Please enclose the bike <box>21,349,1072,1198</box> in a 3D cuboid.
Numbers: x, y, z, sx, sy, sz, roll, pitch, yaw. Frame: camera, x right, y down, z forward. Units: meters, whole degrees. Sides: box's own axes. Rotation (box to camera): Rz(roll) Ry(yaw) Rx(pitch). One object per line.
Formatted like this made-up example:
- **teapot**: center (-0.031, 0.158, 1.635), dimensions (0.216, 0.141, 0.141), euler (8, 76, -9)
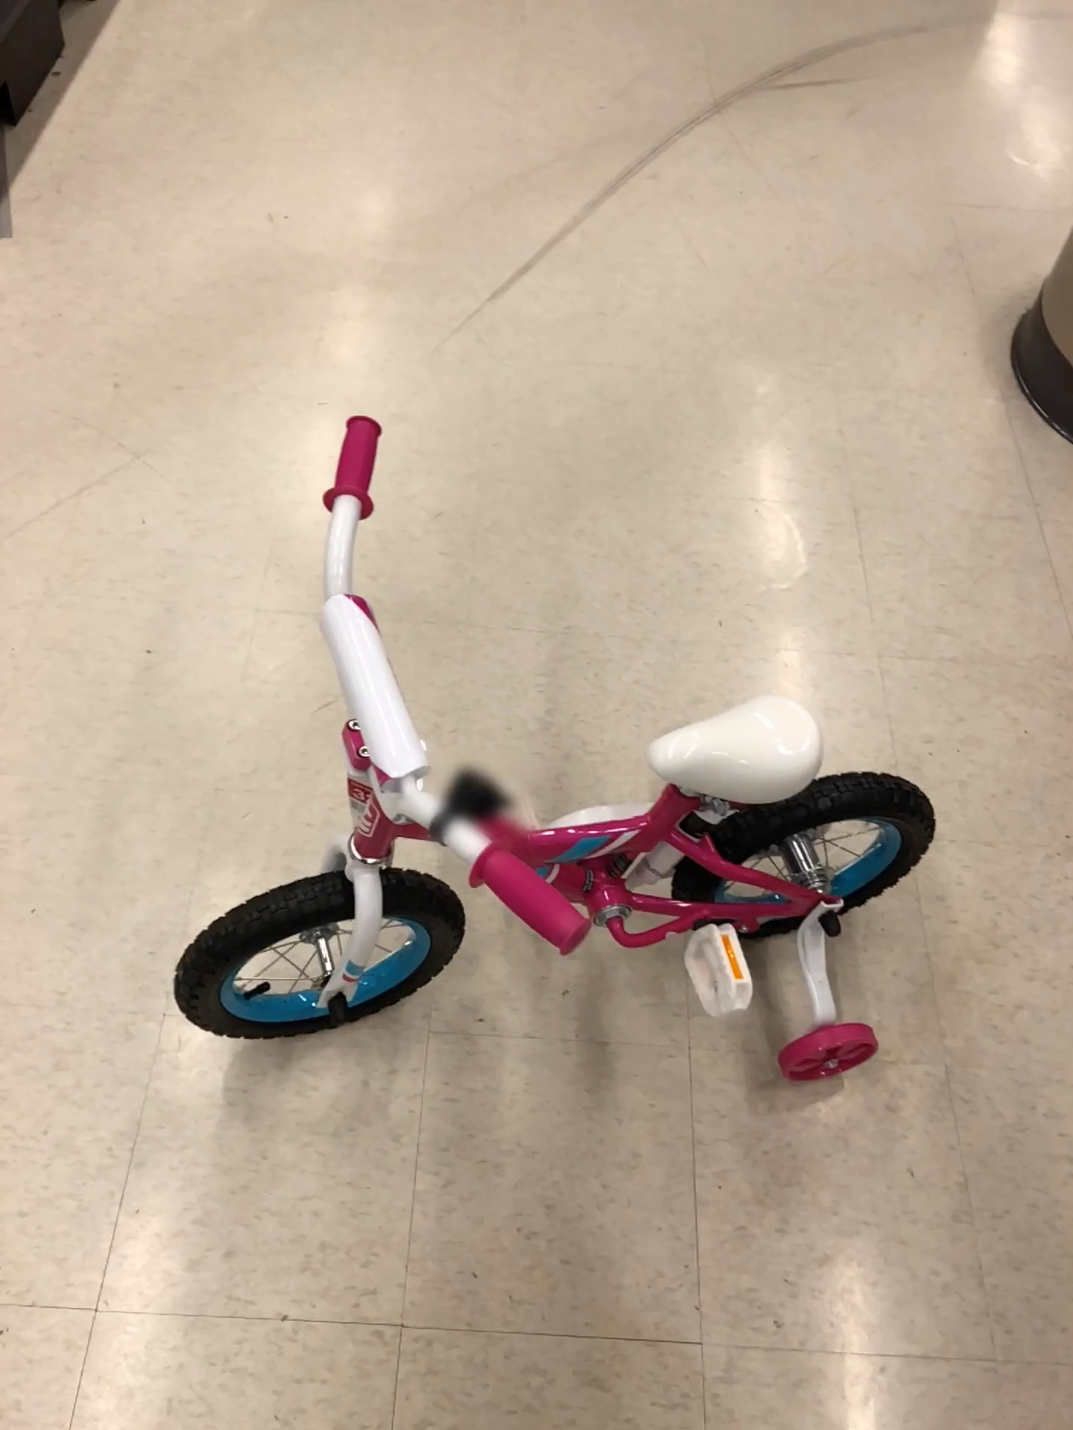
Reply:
- **bike**: center (0.042, 0.066, 1.129), dimensions (0.815, 0.625, 0.463), euler (-8, 56, -14)
